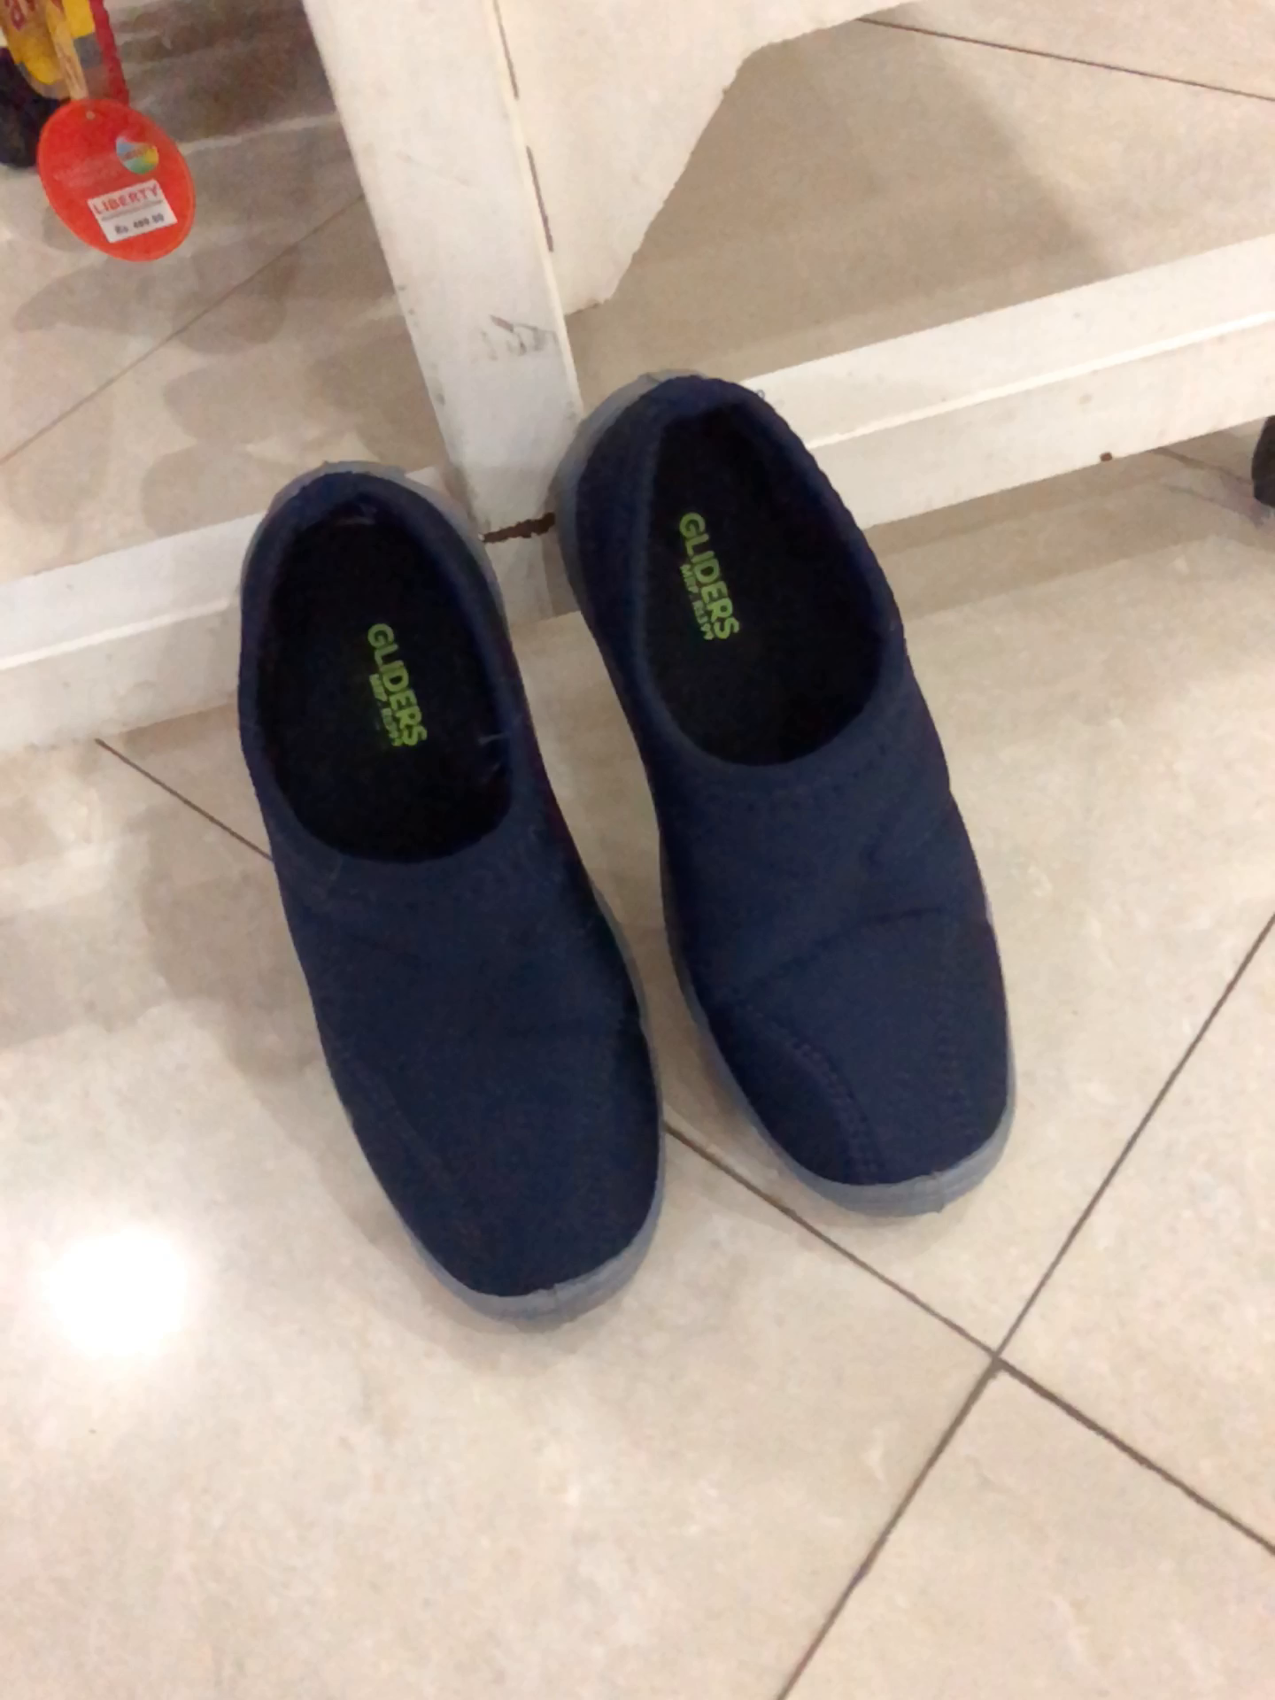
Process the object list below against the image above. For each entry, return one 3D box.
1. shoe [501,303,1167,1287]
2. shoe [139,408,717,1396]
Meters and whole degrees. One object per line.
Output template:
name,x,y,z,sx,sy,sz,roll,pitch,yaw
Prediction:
shoe,0.094,-0.027,0.836,0.186,0.207,0.490,-19,80,-3
shoe,-0.114,0.027,0.788,0.160,0.200,0.460,-17,82,-6
